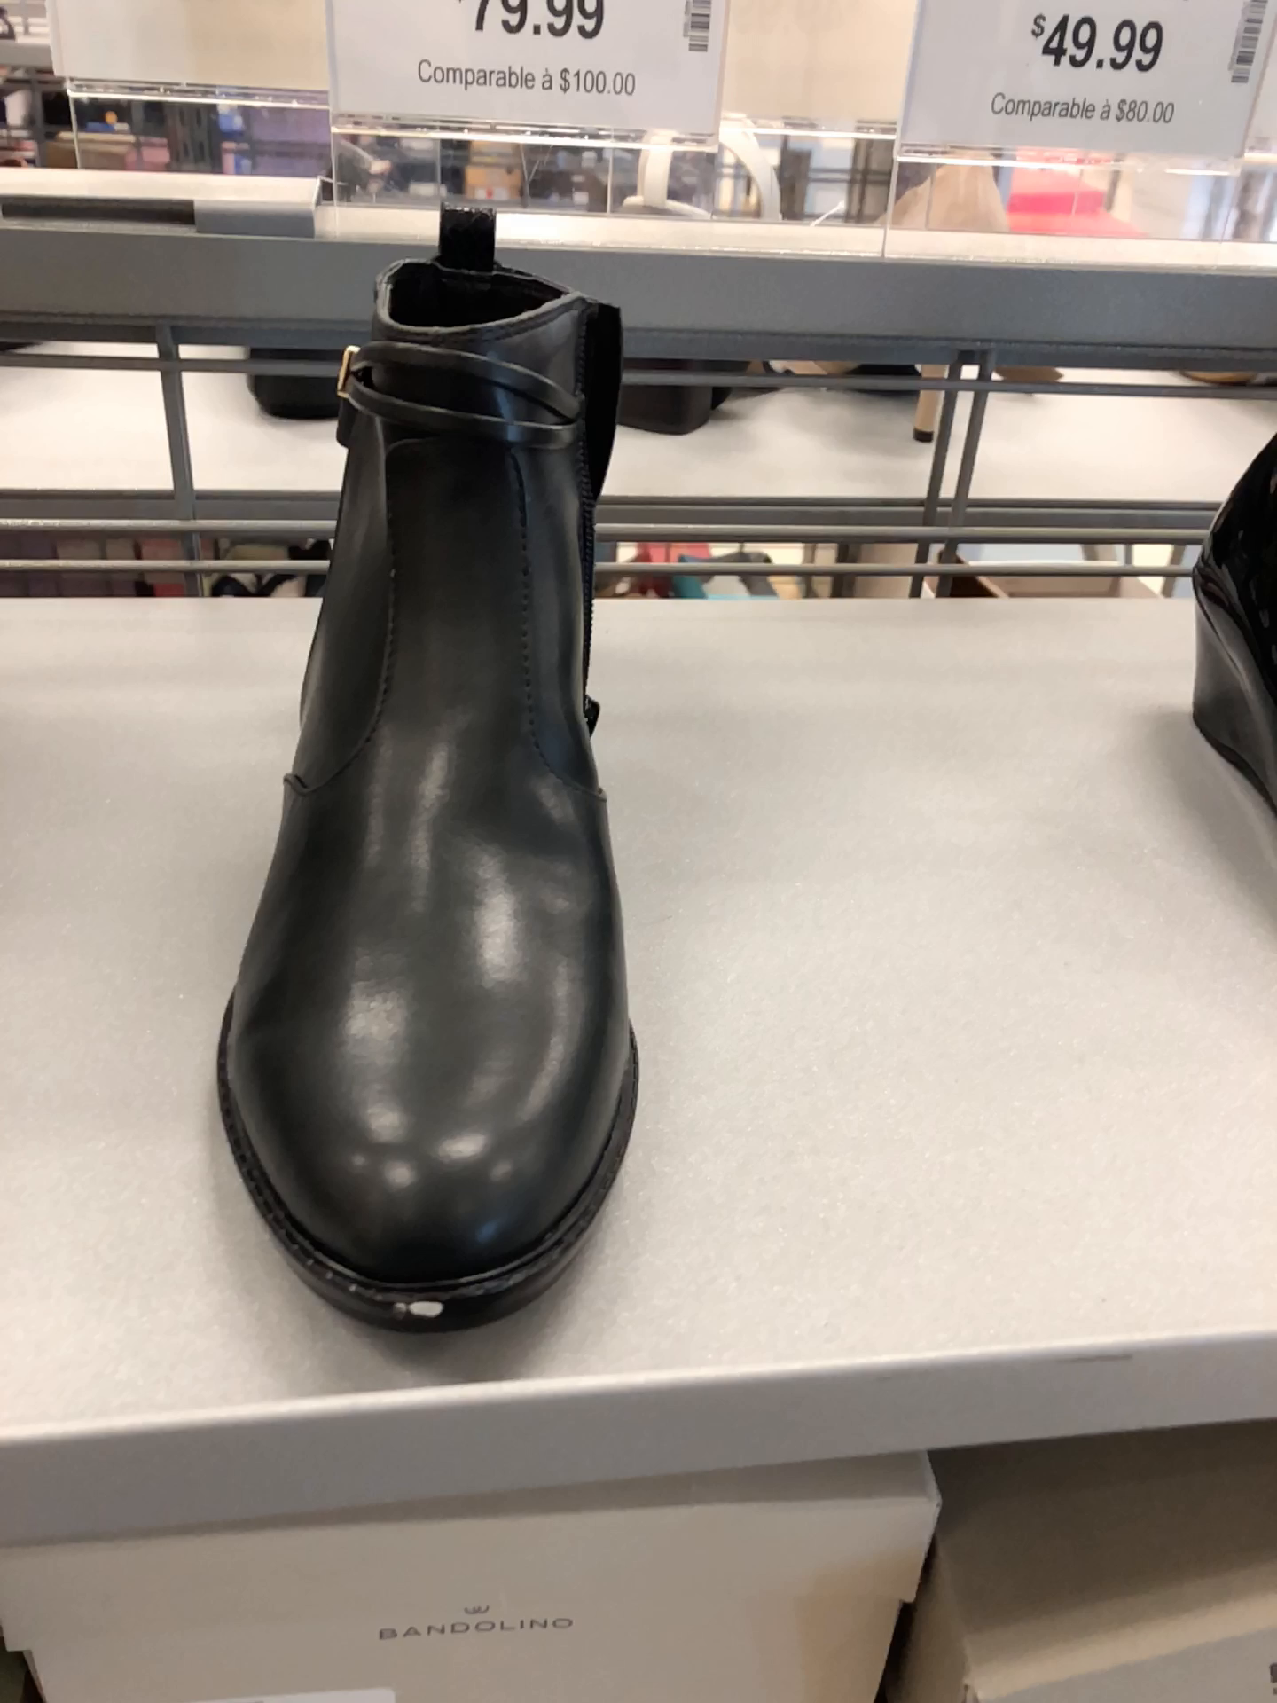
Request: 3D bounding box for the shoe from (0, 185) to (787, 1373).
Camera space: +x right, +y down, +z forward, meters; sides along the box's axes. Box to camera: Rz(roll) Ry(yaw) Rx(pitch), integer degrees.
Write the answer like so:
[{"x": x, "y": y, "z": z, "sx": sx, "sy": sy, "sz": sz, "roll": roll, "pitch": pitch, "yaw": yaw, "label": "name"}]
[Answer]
[{"x": -0.042, "y": -0.038, "z": 0.298, "sx": 0.090, "sy": 0.149, "sz": 0.232, "roll": 1, "pitch": 33, "yaw": -6, "label": "shoe"}]
